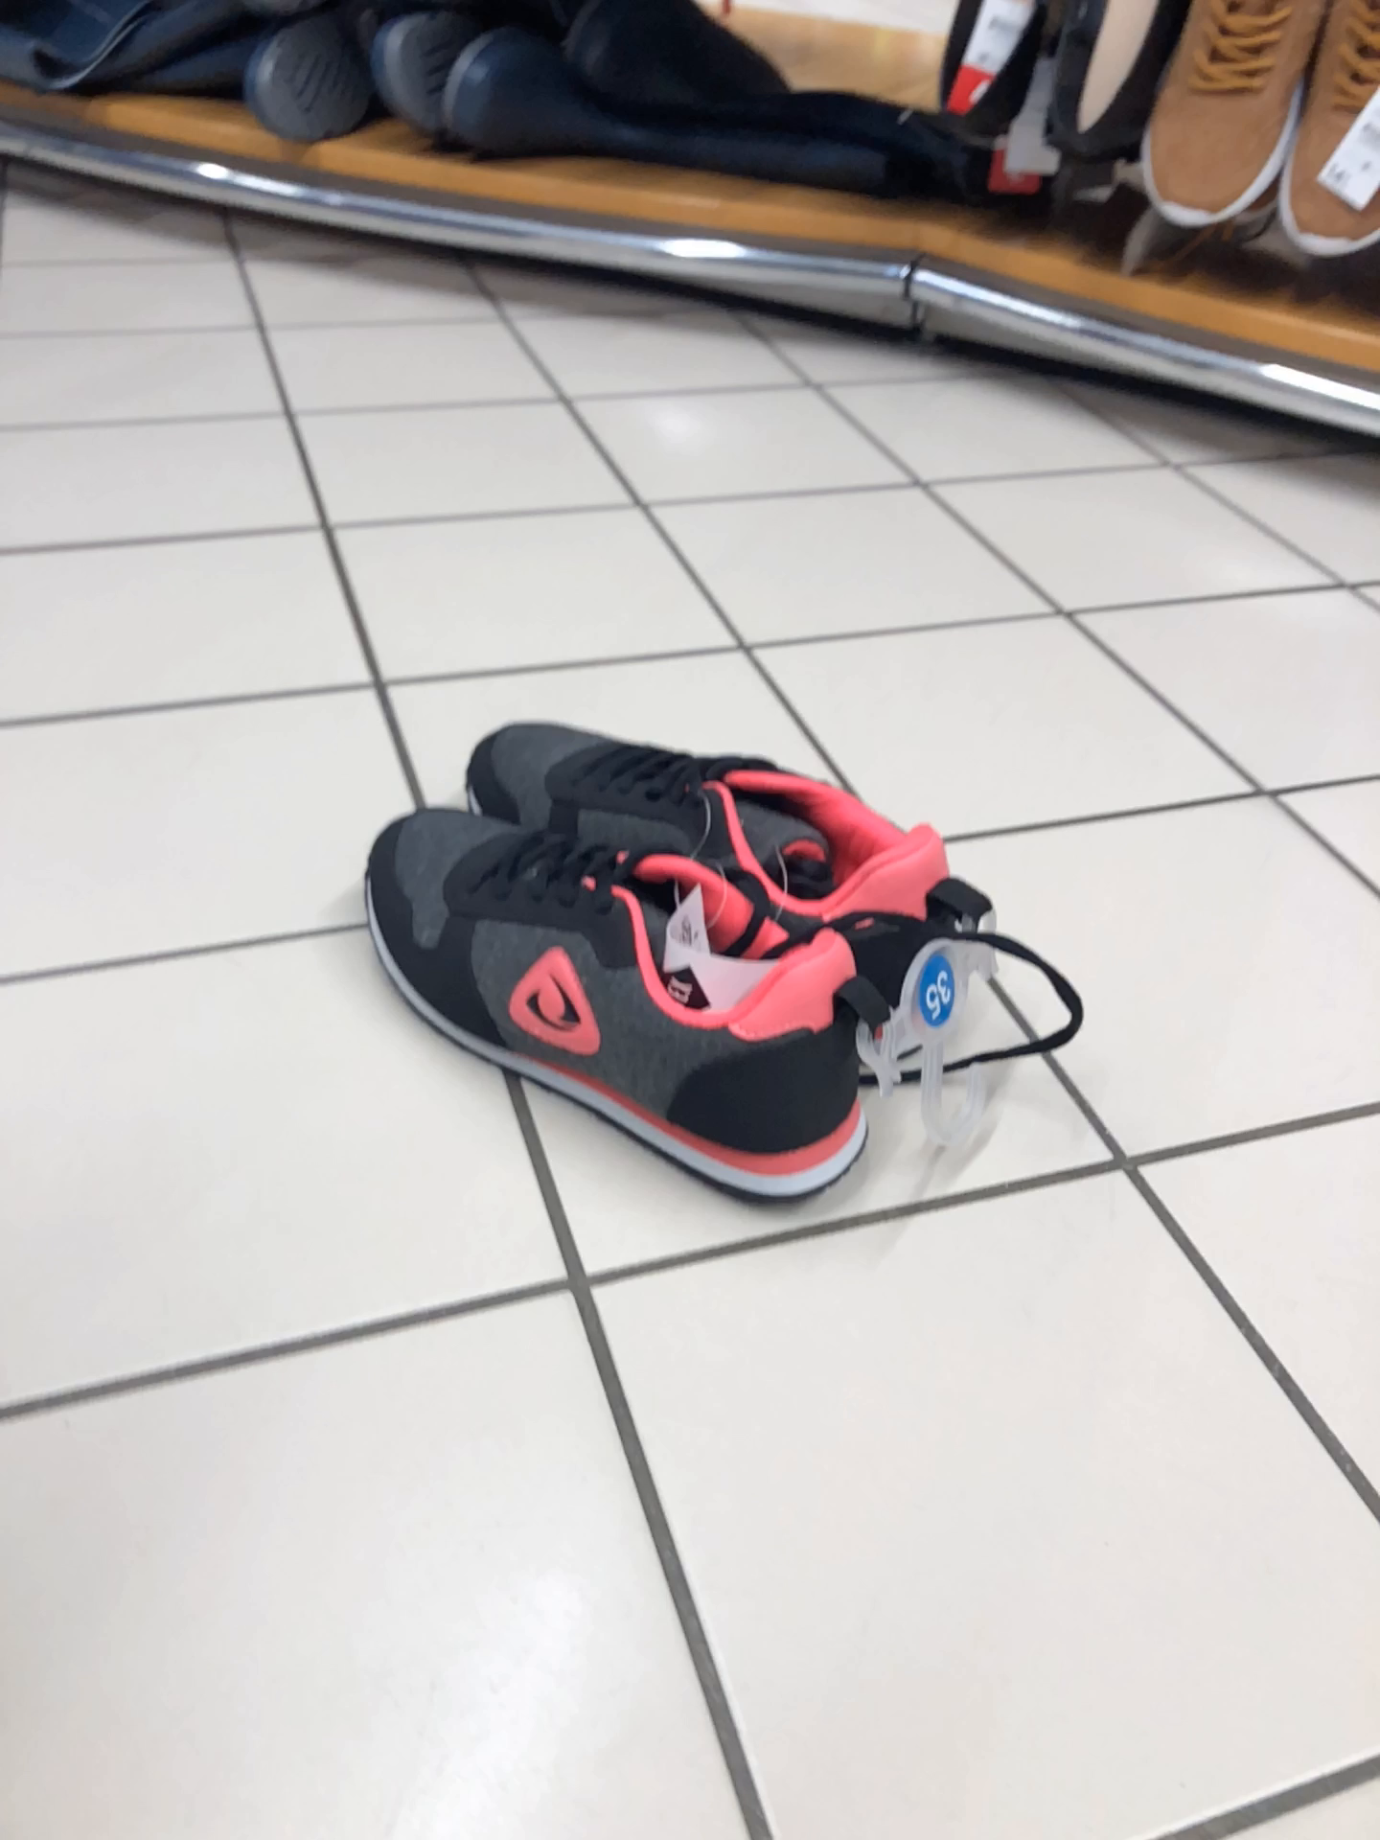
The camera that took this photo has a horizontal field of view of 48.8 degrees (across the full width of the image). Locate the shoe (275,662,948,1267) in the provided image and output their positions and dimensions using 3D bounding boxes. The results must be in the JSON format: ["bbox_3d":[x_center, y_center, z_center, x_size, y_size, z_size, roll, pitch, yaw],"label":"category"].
[{"bbox_3d":[-0.034,0.005,0.538,0.220,0.099,0.091,28,43,28],"label":"shoe"}]

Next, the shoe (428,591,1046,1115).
[{"bbox_3d":[0.010,-0.035,0.596,0.220,0.099,0.091,27,43,27],"label":"shoe"}]
